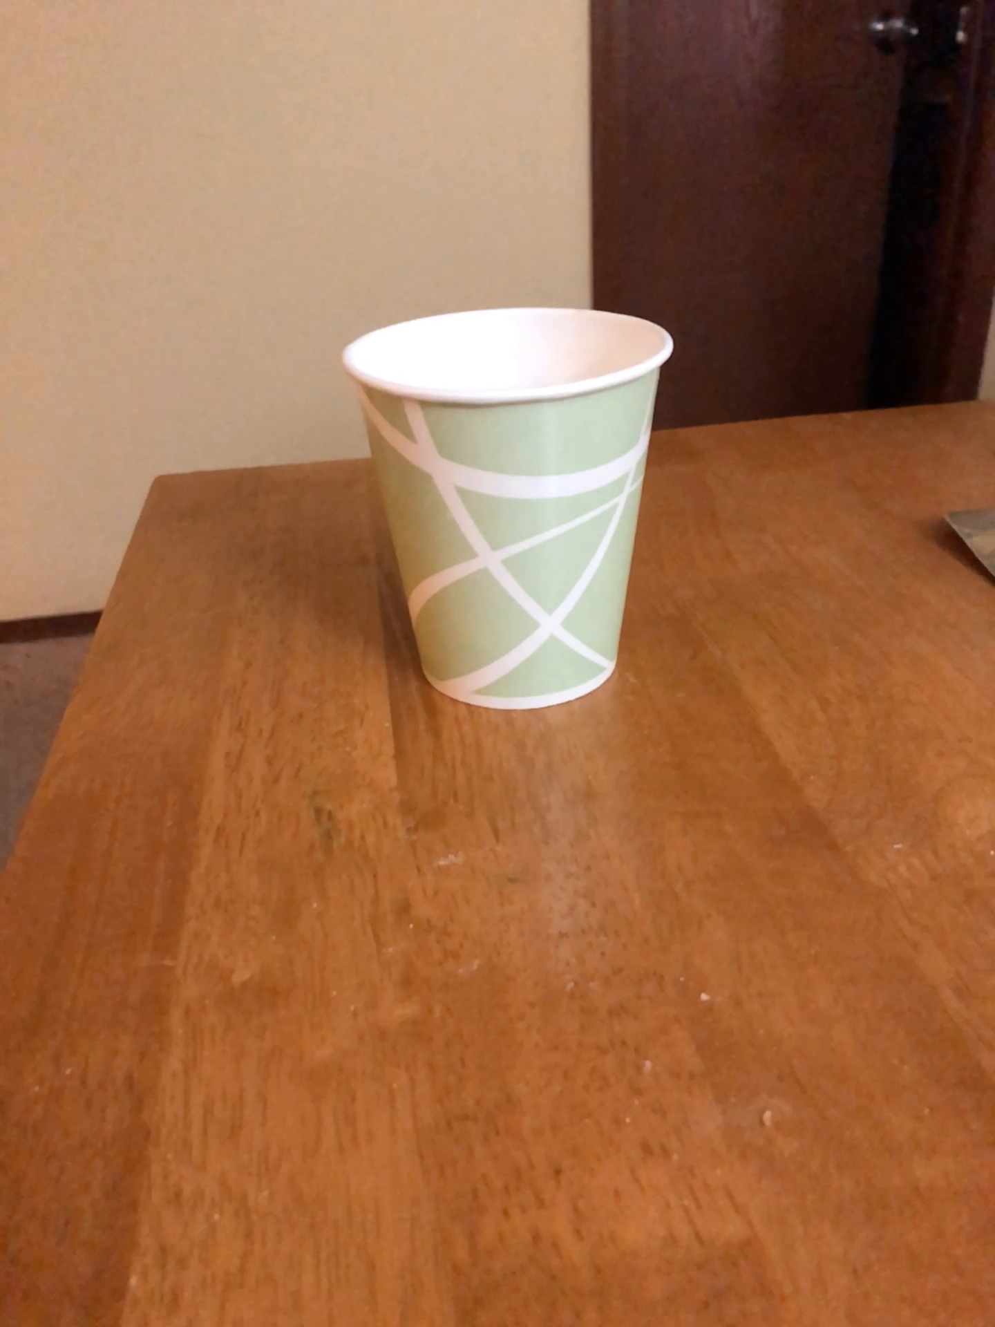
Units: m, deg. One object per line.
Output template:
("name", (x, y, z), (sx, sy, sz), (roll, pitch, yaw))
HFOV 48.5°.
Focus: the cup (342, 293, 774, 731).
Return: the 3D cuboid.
("cup", (0.012, -0.048, 0.317), (0.100, 0.090, 0.090), (-6, 29, -6))
